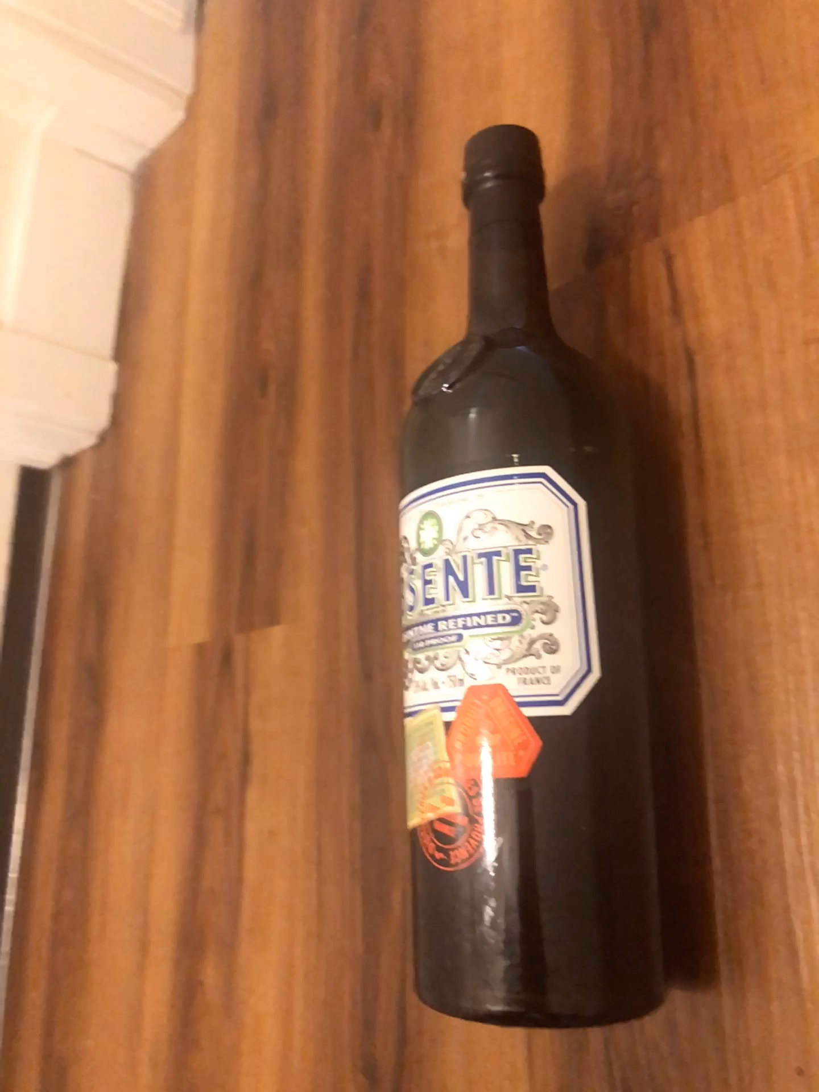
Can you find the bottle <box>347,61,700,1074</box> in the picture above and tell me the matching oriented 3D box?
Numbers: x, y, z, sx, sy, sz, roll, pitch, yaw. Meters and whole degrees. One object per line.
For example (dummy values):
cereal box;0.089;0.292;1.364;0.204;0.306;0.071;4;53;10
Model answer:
bottle;0.034;-0.001;0.314;0.080;0.070;0.300;-16;69;47
